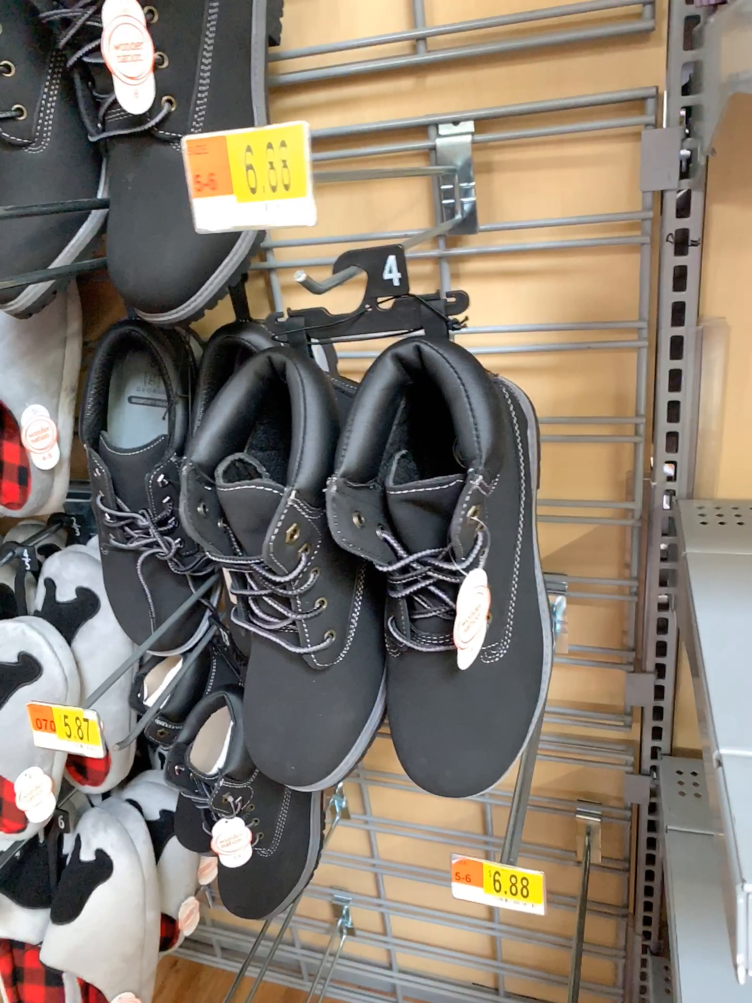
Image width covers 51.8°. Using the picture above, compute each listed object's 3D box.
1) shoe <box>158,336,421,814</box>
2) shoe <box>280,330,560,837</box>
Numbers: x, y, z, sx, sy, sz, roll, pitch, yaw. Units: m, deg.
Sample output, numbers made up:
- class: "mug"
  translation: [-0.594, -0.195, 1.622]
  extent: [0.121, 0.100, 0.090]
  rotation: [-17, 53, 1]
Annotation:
- class: "shoe"
  translation: [-0.043, 0.028, 0.430]
  extent: [0.100, 0.229, 0.110]
  rotation: [5, 10, 20]
- class: "shoe"
  translation: [0.027, 0.026, 0.379]
  extent: [0.100, 0.206, 0.120]
  rotation: [3, 9, 21]
